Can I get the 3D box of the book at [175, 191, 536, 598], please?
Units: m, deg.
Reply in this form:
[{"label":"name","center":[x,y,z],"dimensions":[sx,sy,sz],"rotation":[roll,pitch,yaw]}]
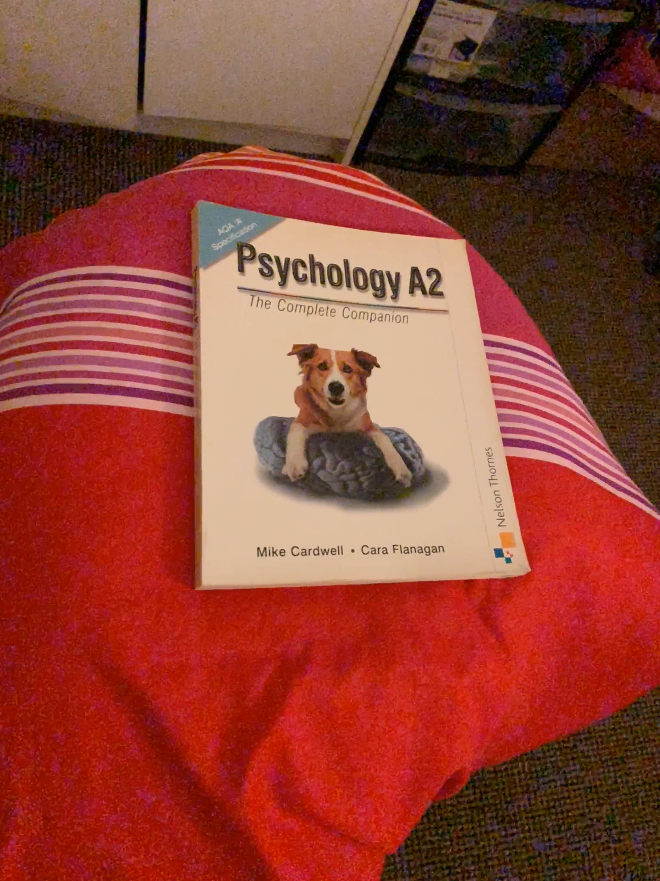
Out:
[{"label":"book","center":[0.010,-0.039,0.502],"dimensions":[0.240,0.040,0.291],"rotation":[1,68,-17]}]
